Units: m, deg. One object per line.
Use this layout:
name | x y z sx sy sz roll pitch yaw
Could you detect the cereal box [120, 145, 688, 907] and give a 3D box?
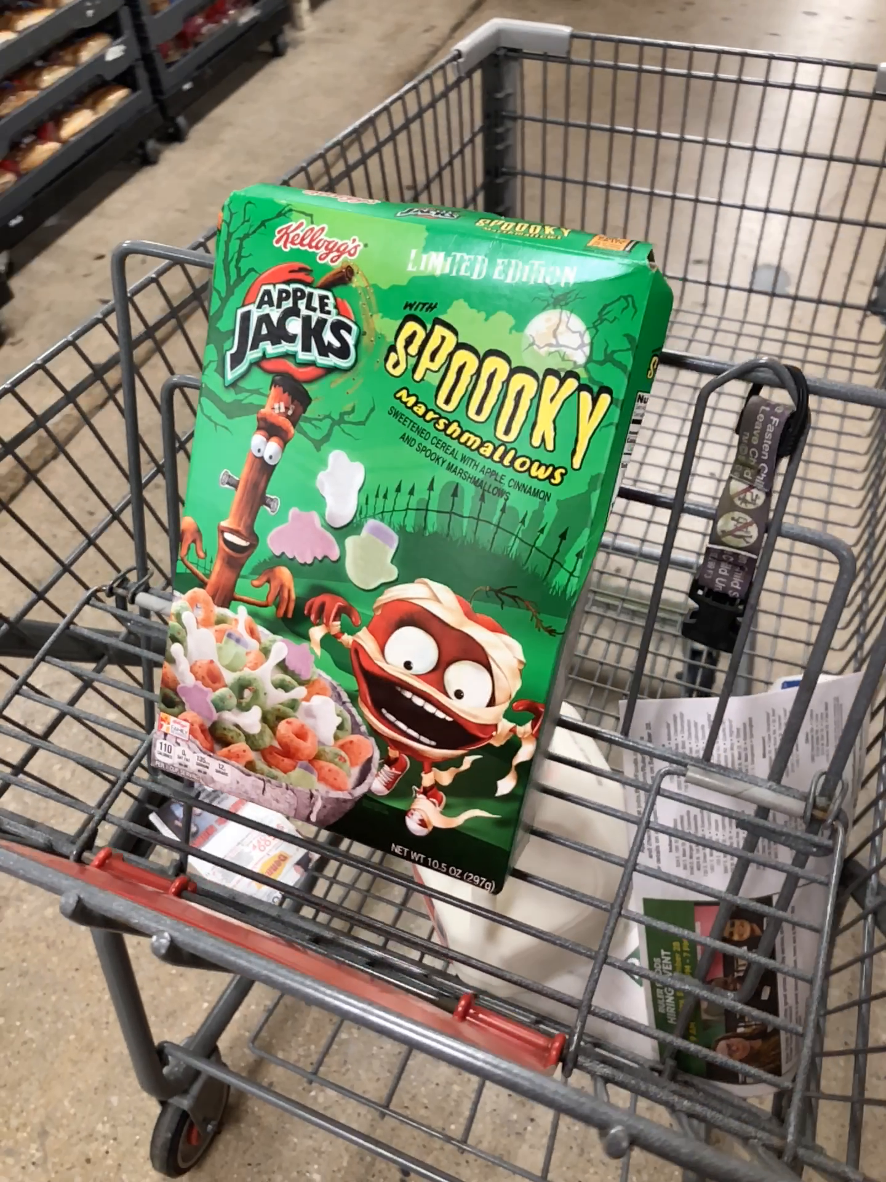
cereal box | -0.028 -0.030 0.441 0.200 0.280 0.070 16 18 17
